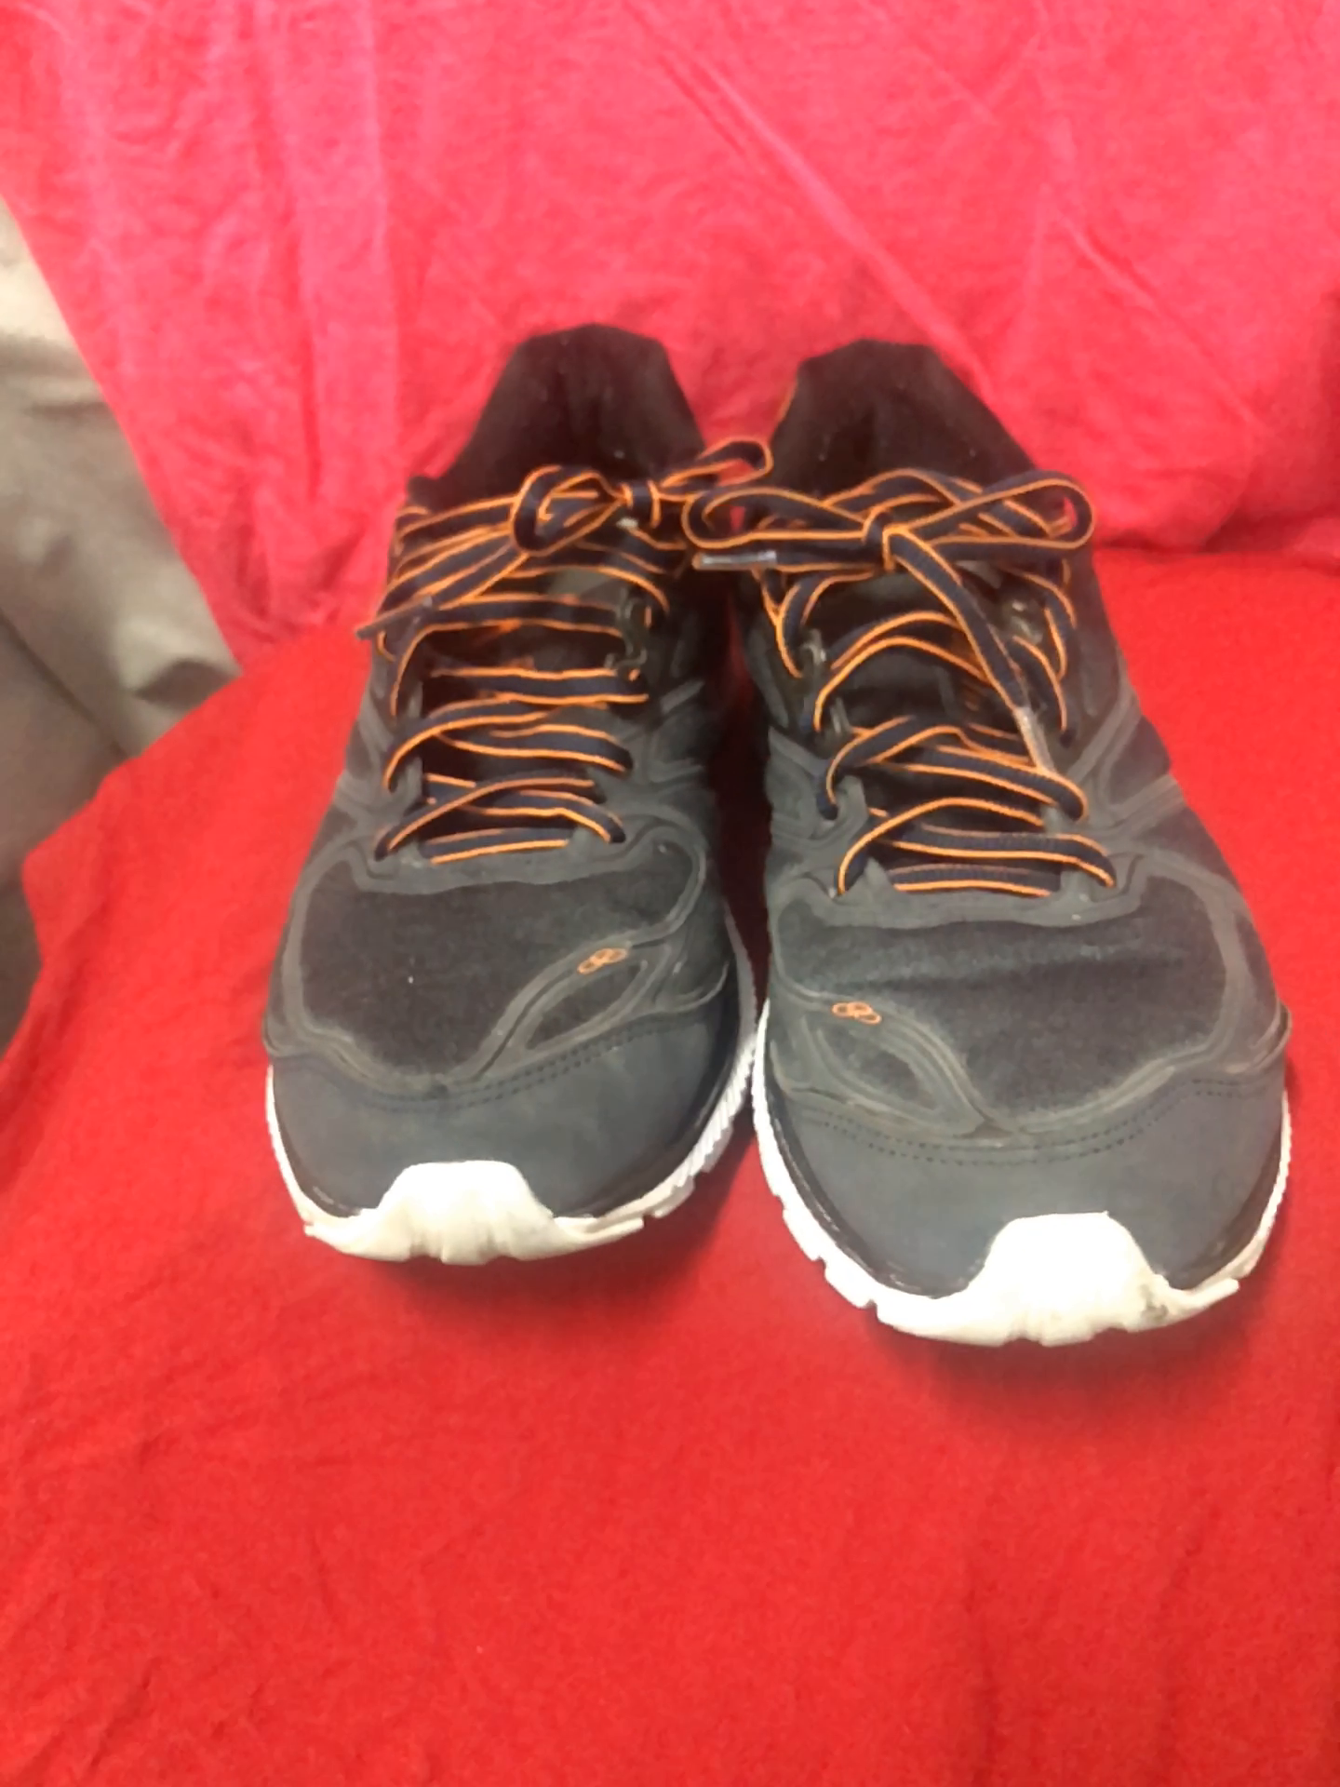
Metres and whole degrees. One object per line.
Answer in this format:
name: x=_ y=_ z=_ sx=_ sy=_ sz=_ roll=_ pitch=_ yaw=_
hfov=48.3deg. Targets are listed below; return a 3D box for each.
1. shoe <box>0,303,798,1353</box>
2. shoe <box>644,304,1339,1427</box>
shoe: x=-0.033 y=-0.043 z=0.351 sx=0.110 sy=0.089 sz=0.282 roll=-1 pitch=39 yaw=8
shoe: x=0.055 y=-0.035 z=0.348 sx=0.110 sy=0.099 sz=0.283 roll=-5 pitch=39 yaw=3
